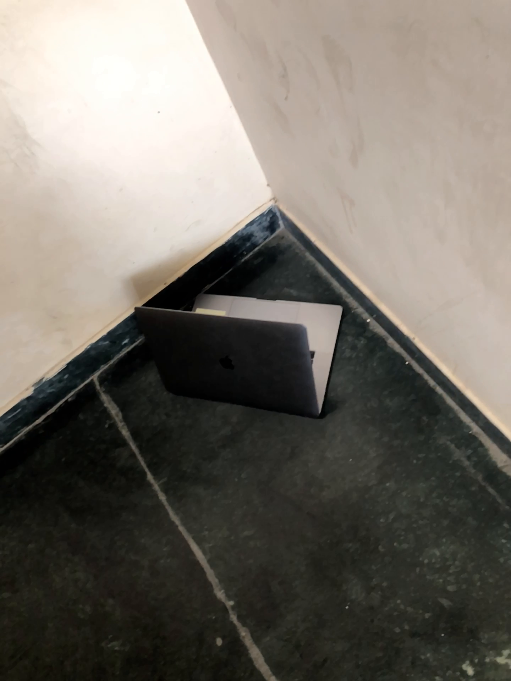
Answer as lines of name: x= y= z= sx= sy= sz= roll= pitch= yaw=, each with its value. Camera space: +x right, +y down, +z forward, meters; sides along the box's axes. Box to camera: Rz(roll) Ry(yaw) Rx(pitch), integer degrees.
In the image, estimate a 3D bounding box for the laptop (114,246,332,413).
laptop: x=-0.052 y=-0.024 z=1.075 sx=0.330 sy=0.198 sz=0.221 roll=8 pitch=70 yaw=25
